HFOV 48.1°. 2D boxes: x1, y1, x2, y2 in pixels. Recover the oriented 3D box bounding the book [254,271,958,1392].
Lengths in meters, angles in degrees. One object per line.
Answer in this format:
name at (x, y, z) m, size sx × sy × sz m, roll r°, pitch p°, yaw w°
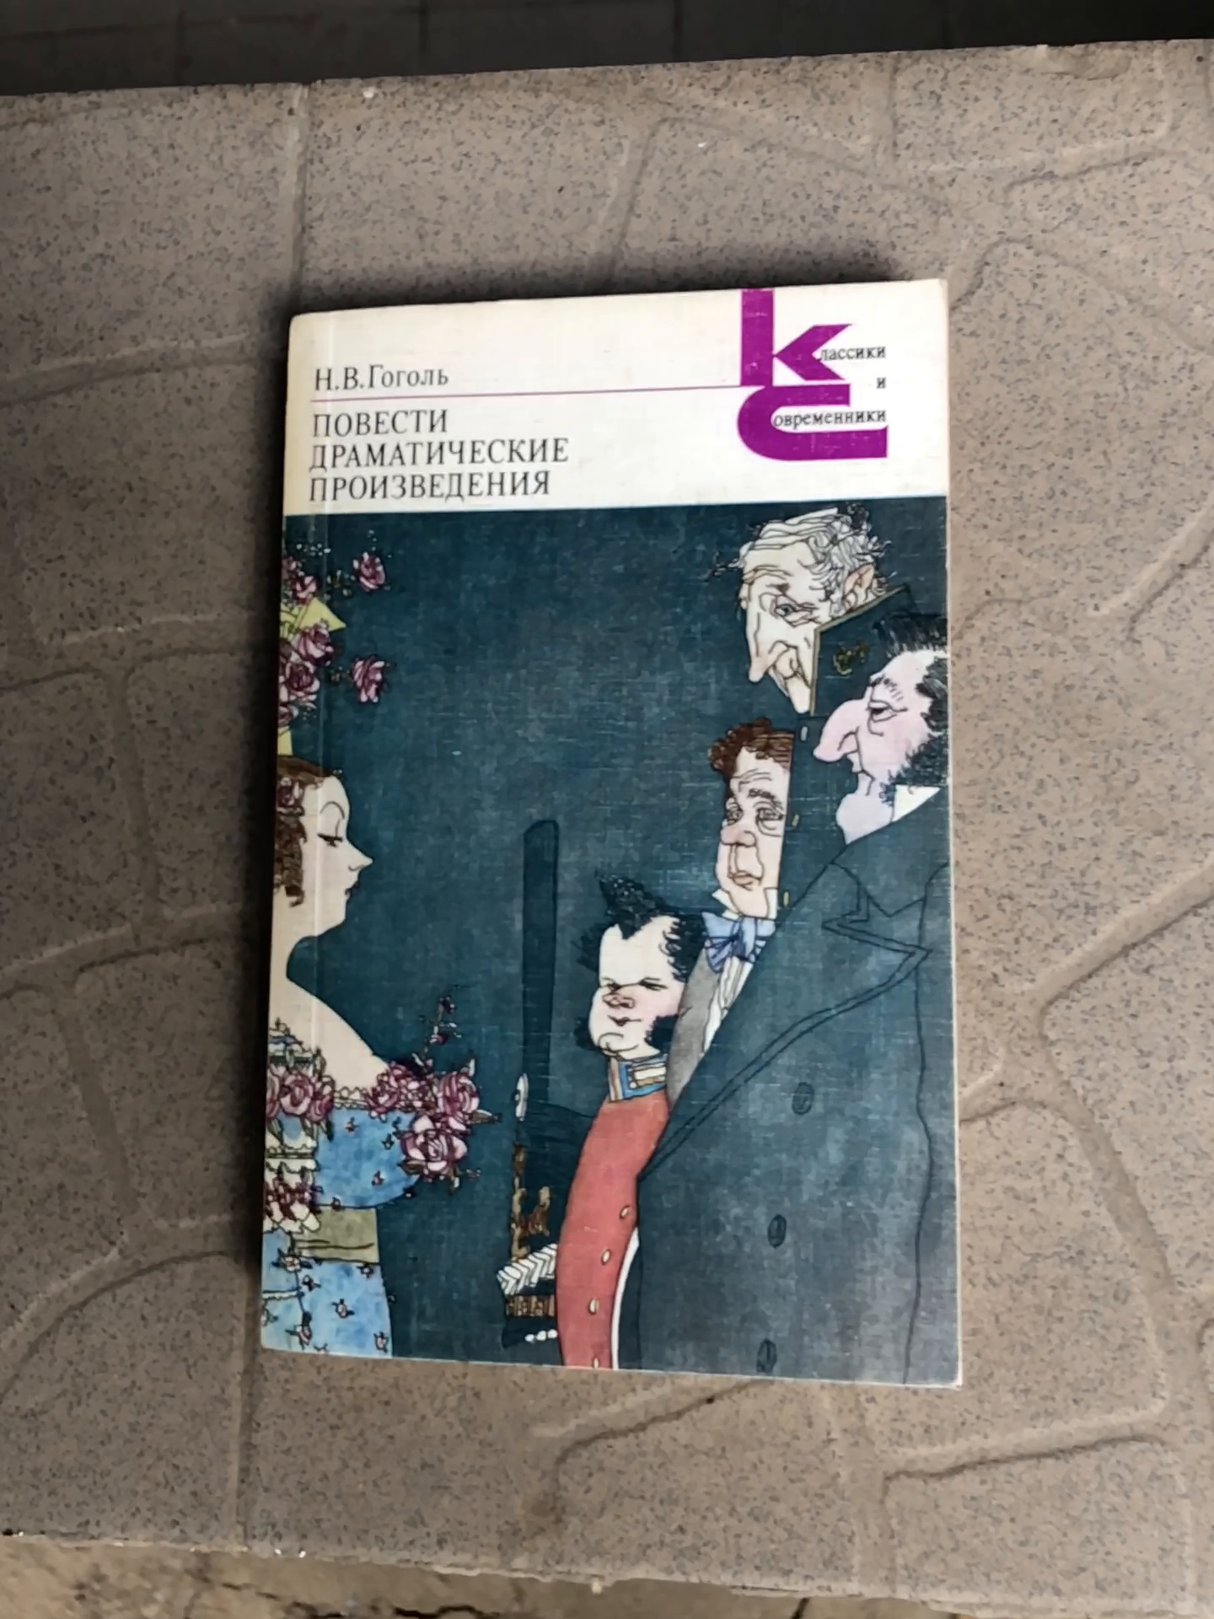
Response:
book at (0.000, 0.001, 0.253) m, size 0.123 × 0.021 × 0.193 m, roll 0°, pitch 86°, yaw 8°
